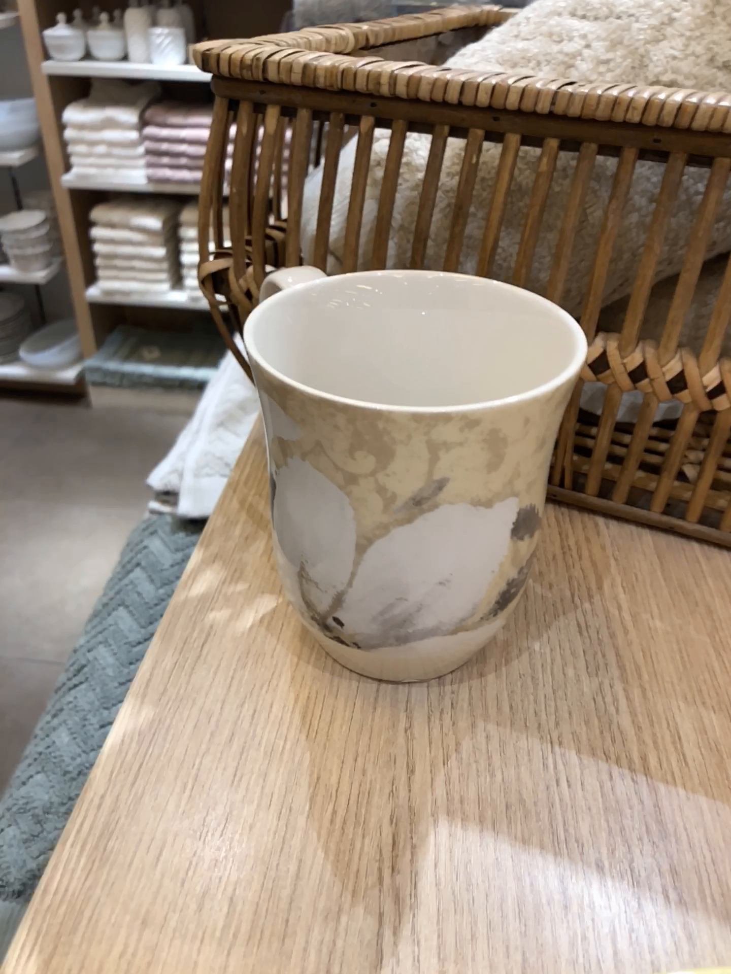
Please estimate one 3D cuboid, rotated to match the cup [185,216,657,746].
[{"bbox_3d":[0.004,-0.014,0.256,0.090,0.099,0.131,-10,36,-16],"label":"cup"}]
